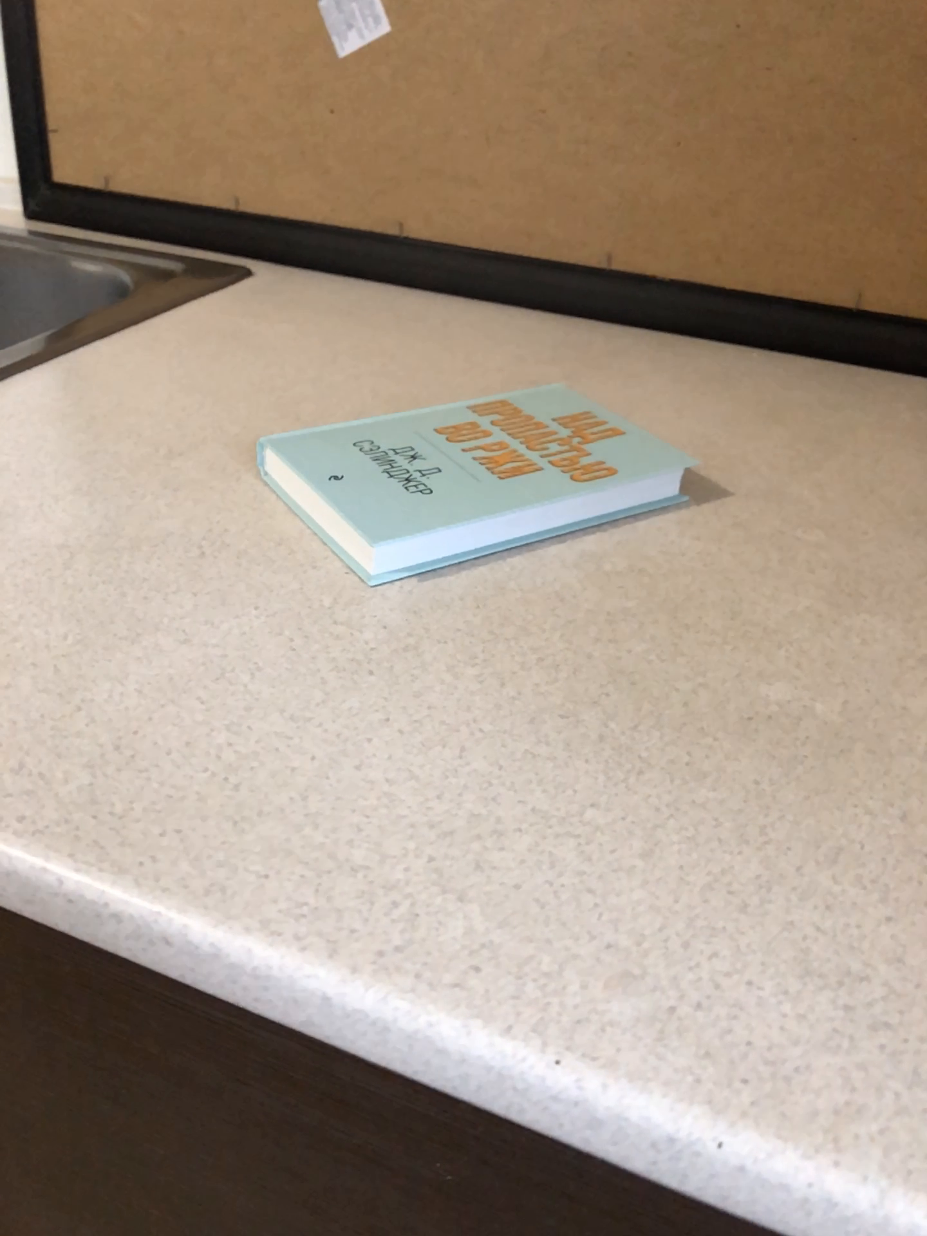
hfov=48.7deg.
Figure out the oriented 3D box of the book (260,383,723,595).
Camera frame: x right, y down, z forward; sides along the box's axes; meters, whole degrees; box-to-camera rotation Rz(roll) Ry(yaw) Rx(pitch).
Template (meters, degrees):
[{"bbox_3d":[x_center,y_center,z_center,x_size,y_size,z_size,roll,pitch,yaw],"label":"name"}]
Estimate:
[{"bbox_3d":[0.012,-0.067,0.467,0.176,0.020,0.115,-16,37,-27],"label":"book"}]
